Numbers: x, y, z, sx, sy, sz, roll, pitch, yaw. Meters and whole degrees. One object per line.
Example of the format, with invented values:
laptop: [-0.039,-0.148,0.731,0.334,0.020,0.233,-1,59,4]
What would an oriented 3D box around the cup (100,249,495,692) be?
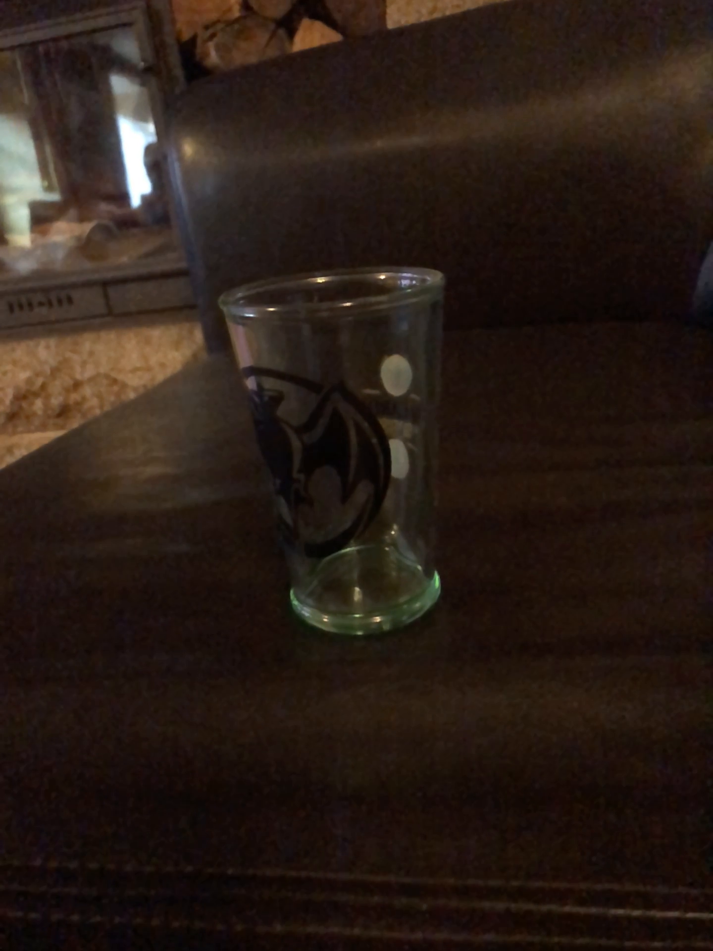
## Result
cup: [-0.016,-0.011,0.275,0.088,0.117,0.084,-7,21,3]
